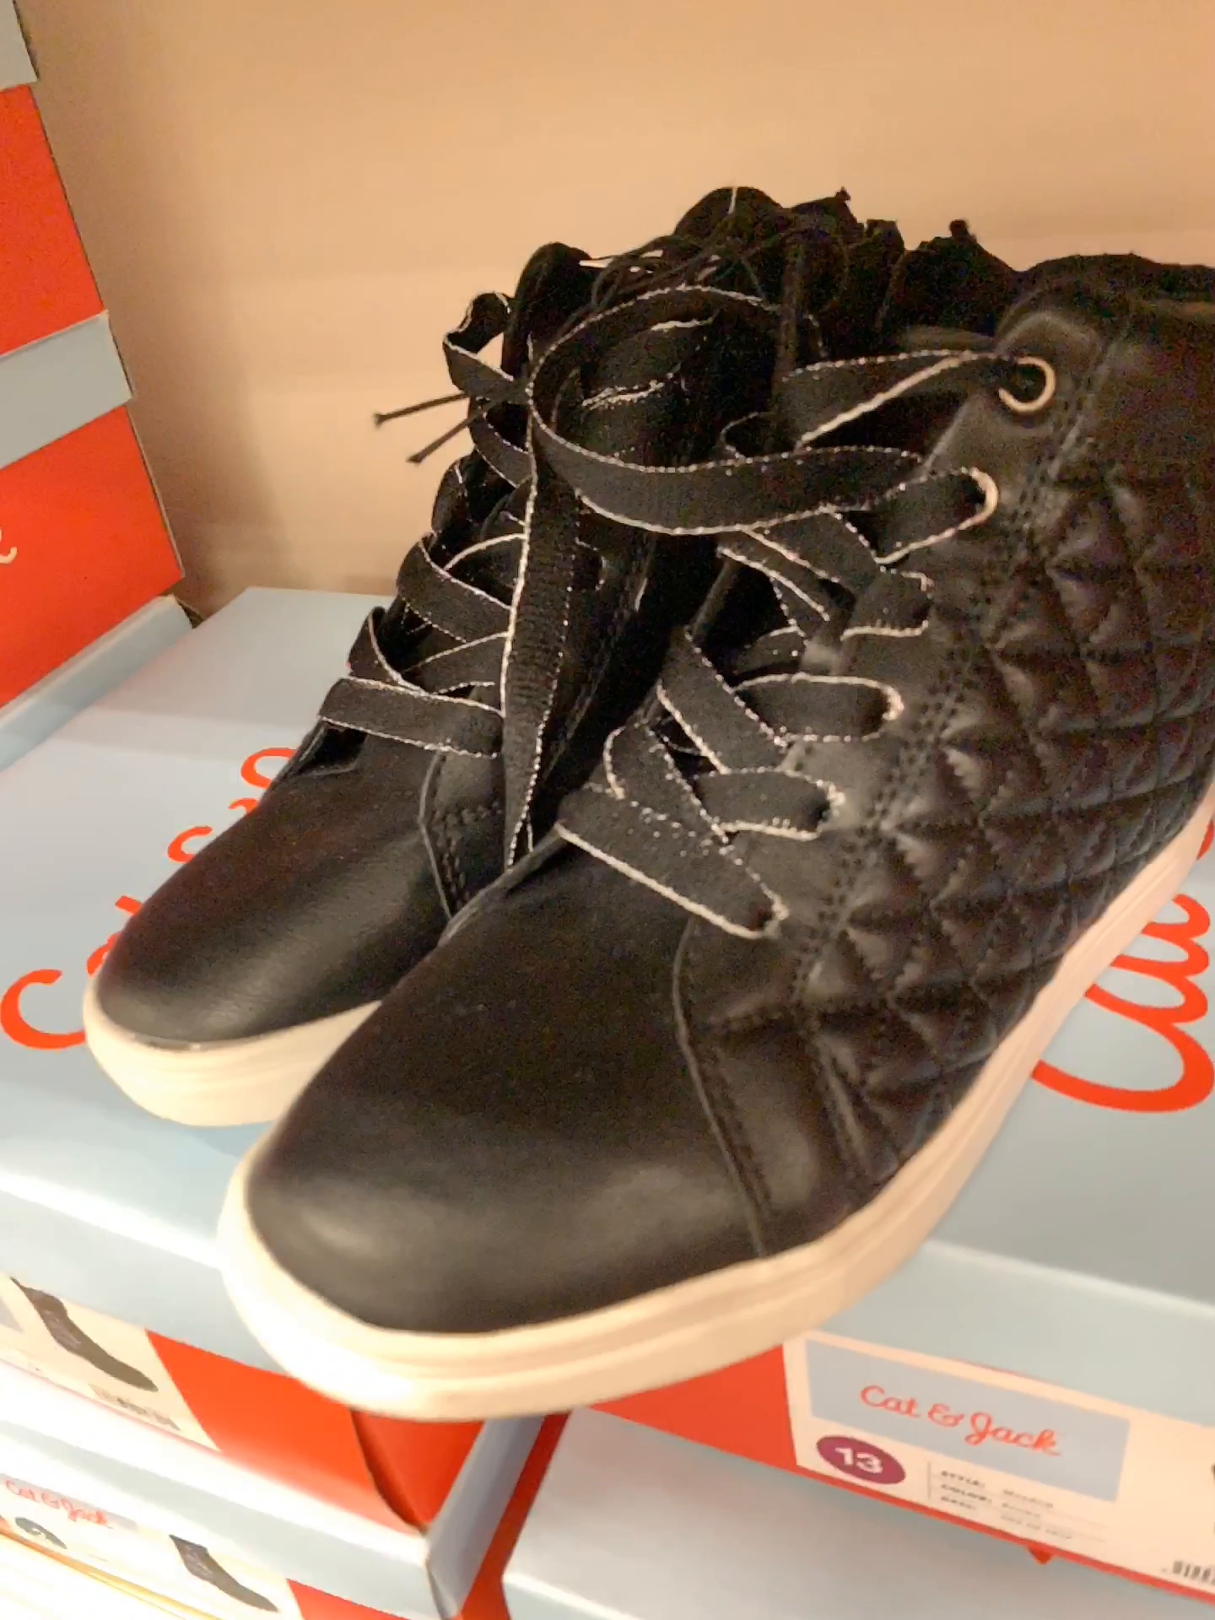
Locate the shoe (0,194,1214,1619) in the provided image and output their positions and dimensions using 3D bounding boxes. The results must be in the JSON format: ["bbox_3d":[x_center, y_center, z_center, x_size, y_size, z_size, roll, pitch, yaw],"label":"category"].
[{"bbox_3d":[0.027,-0.012,0.208,0.100,0.109,0.230,25,49,39],"label":"shoe"}]

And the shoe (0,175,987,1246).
[{"bbox_3d":[-0.025,-0.046,0.277,0.100,0.119,0.230,25,49,39],"label":"shoe"}]
